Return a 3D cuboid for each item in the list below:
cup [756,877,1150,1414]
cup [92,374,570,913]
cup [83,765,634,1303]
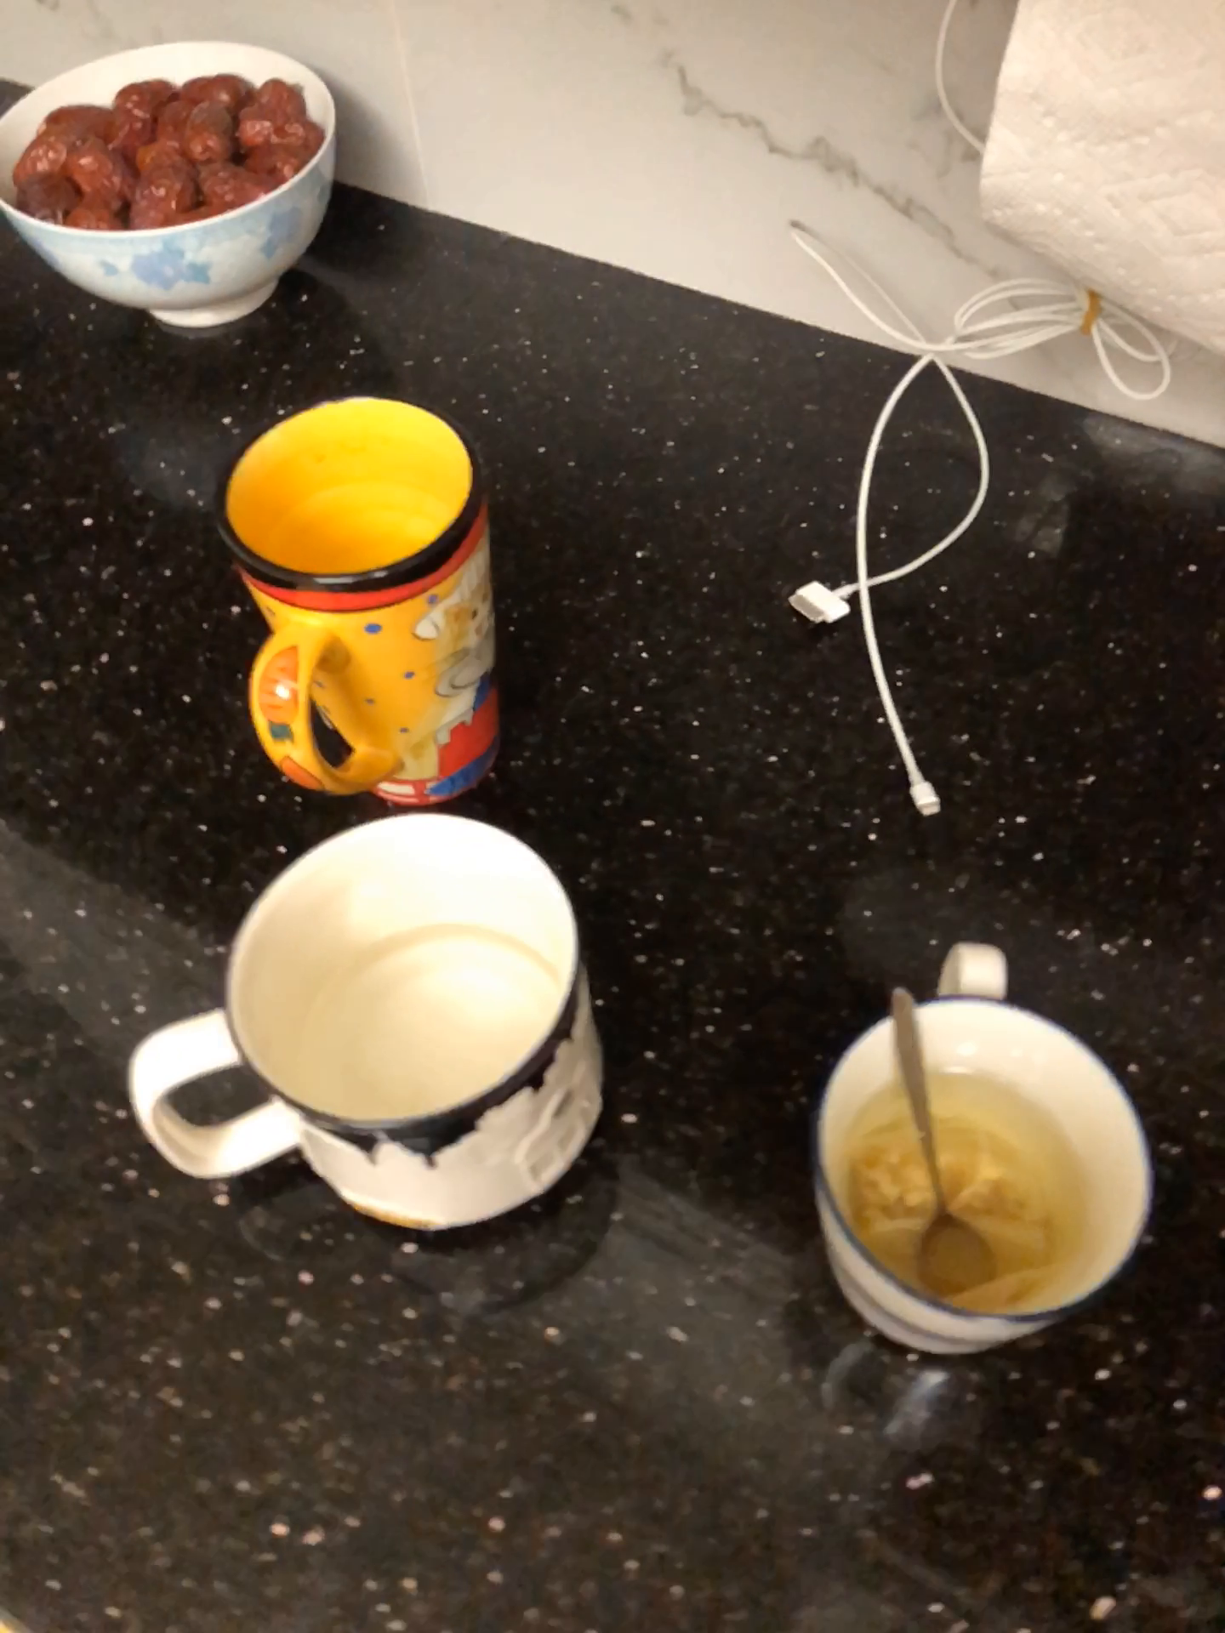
[{"bbox_3d":[0.097,0.091,0.382,0.090,0.060,0.120,10,57,10],"label":"cup"},{"bbox_3d":[-0.089,-0.064,0.480,0.100,0.100,0.151,11,57,11],"label":"cup"},{"bbox_3d":[-0.077,0.066,0.412,0.140,0.080,0.110,-13,56,-5],"label":"cup"}]
